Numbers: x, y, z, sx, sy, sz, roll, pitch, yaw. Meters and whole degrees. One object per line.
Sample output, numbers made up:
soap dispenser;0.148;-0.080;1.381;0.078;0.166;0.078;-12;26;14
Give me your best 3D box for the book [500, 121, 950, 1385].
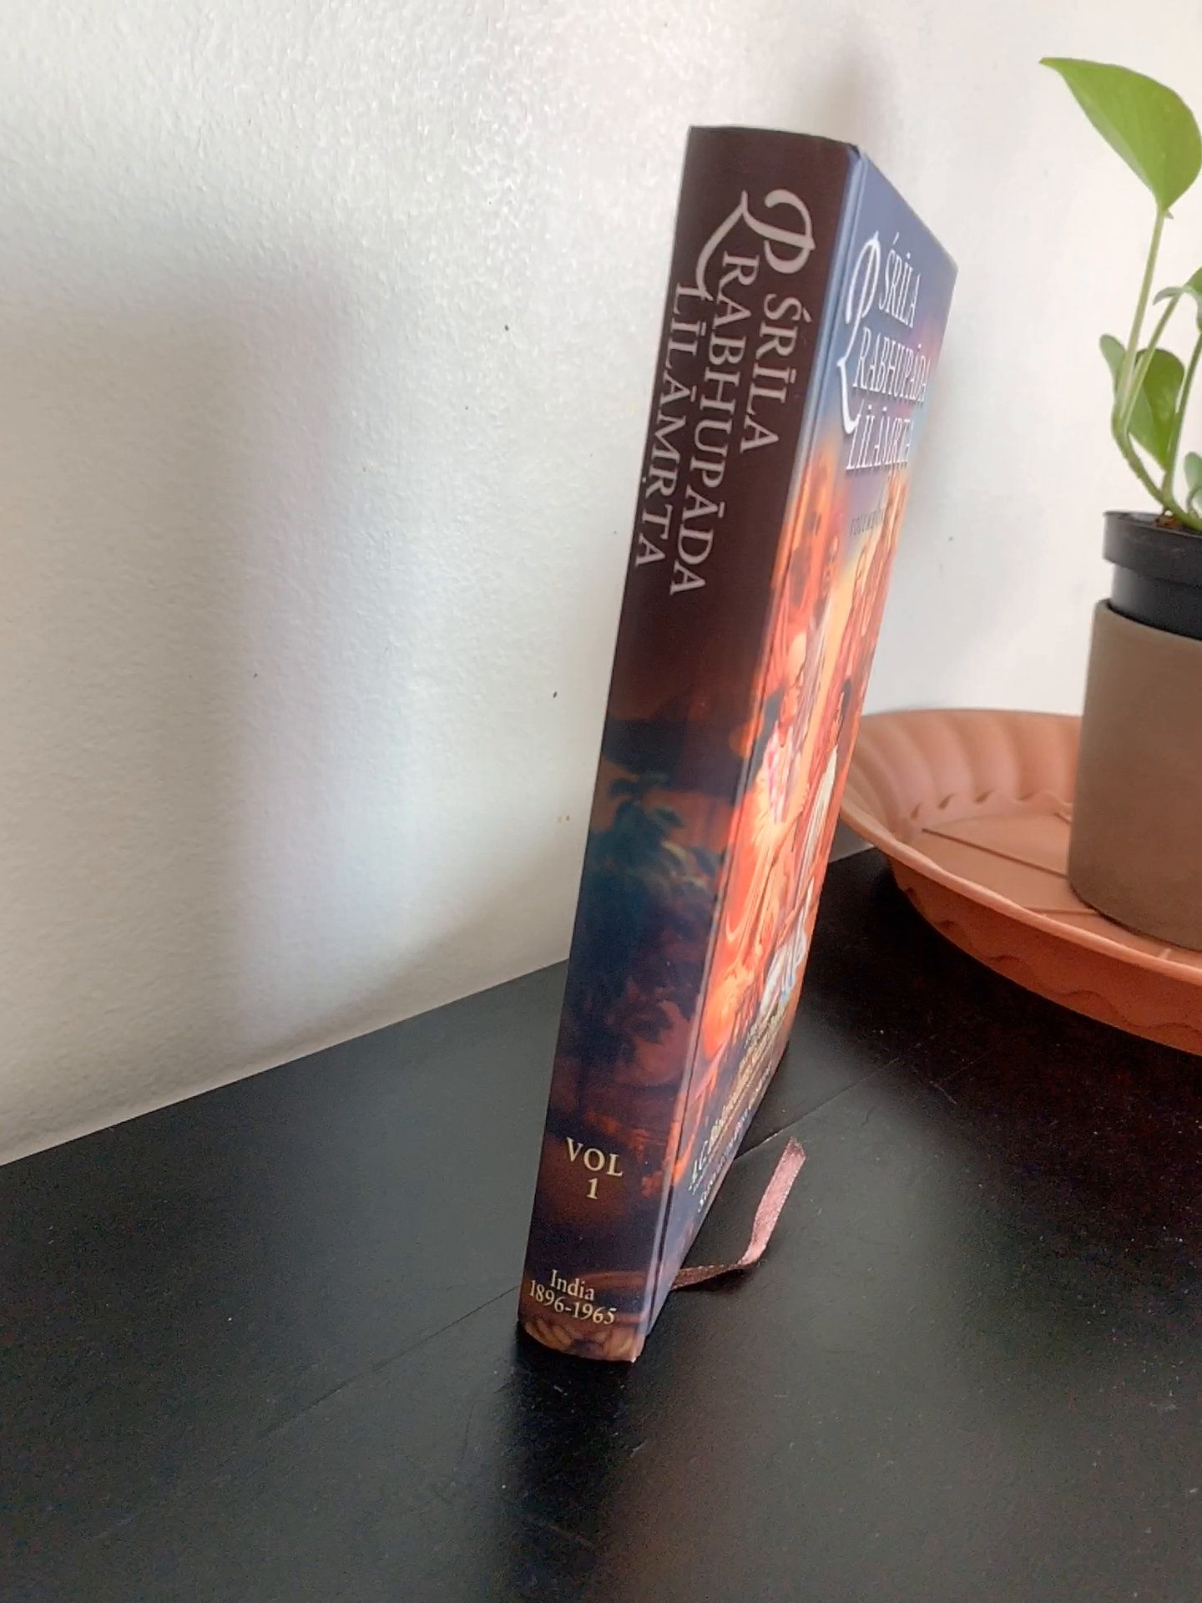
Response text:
book;0.036;-0.014;0.300;0.030;0.233;0.162;14;19;17
